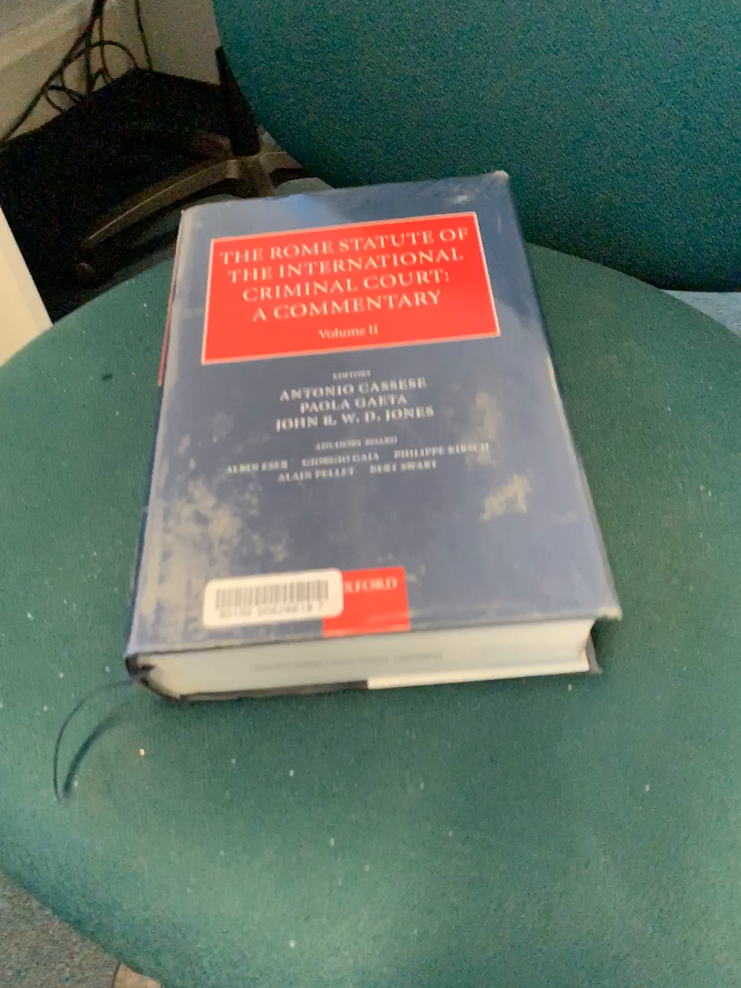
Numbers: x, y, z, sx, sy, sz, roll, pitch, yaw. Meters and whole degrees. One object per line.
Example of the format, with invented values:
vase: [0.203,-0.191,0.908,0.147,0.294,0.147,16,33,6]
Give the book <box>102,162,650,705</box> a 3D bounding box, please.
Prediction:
book: [-0.004,-0.044,0.360,0.188,0.070,0.257,-5,55,2]
